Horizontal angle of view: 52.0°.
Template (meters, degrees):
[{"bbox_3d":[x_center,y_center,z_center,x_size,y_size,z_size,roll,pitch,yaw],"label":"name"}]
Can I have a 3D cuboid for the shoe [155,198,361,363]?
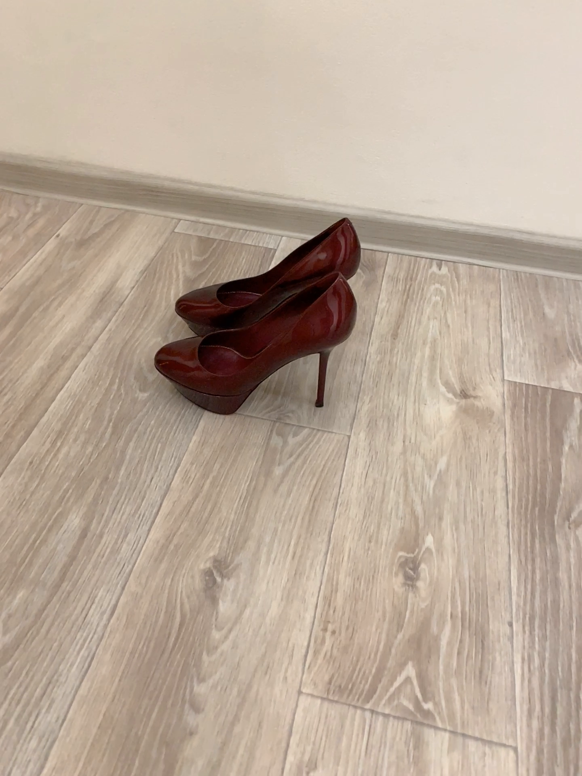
[{"bbox_3d":[-0.035,-0.122,0.689,0.210,0.149,0.087,5,44,1],"label":"shoe"}]

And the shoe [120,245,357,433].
[{"bbox_3d":[-0.047,-0.048,0.608,0.210,0.149,0.087,6,44,2],"label":"shoe"}]
